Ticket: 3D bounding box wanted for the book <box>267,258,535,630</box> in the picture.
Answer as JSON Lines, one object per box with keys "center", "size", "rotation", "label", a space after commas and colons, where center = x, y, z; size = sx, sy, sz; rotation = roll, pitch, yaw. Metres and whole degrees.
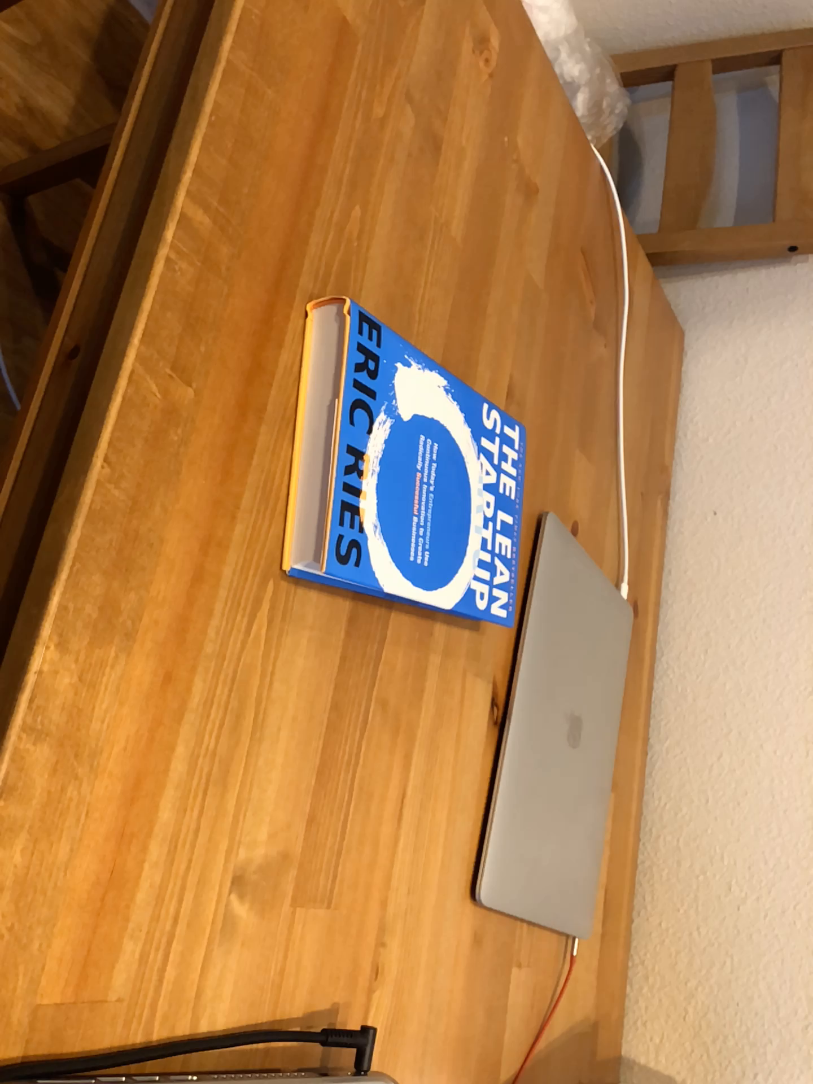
{"center": [0.011, -0.041, 0.533], "size": [0.211, 0.040, 0.160], "rotation": [21, 70, -56], "label": "book"}
